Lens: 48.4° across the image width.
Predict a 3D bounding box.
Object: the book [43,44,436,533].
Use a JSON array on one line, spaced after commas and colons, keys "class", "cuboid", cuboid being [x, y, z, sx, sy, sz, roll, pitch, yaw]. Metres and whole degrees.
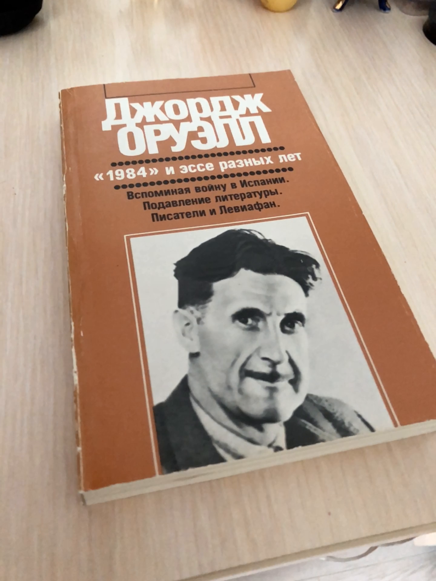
[{"class": "book", "cuboid": [-0.002, -0.027, 0.211, 0.130, 0.040, 0.211, -9, 56, -9]}]
